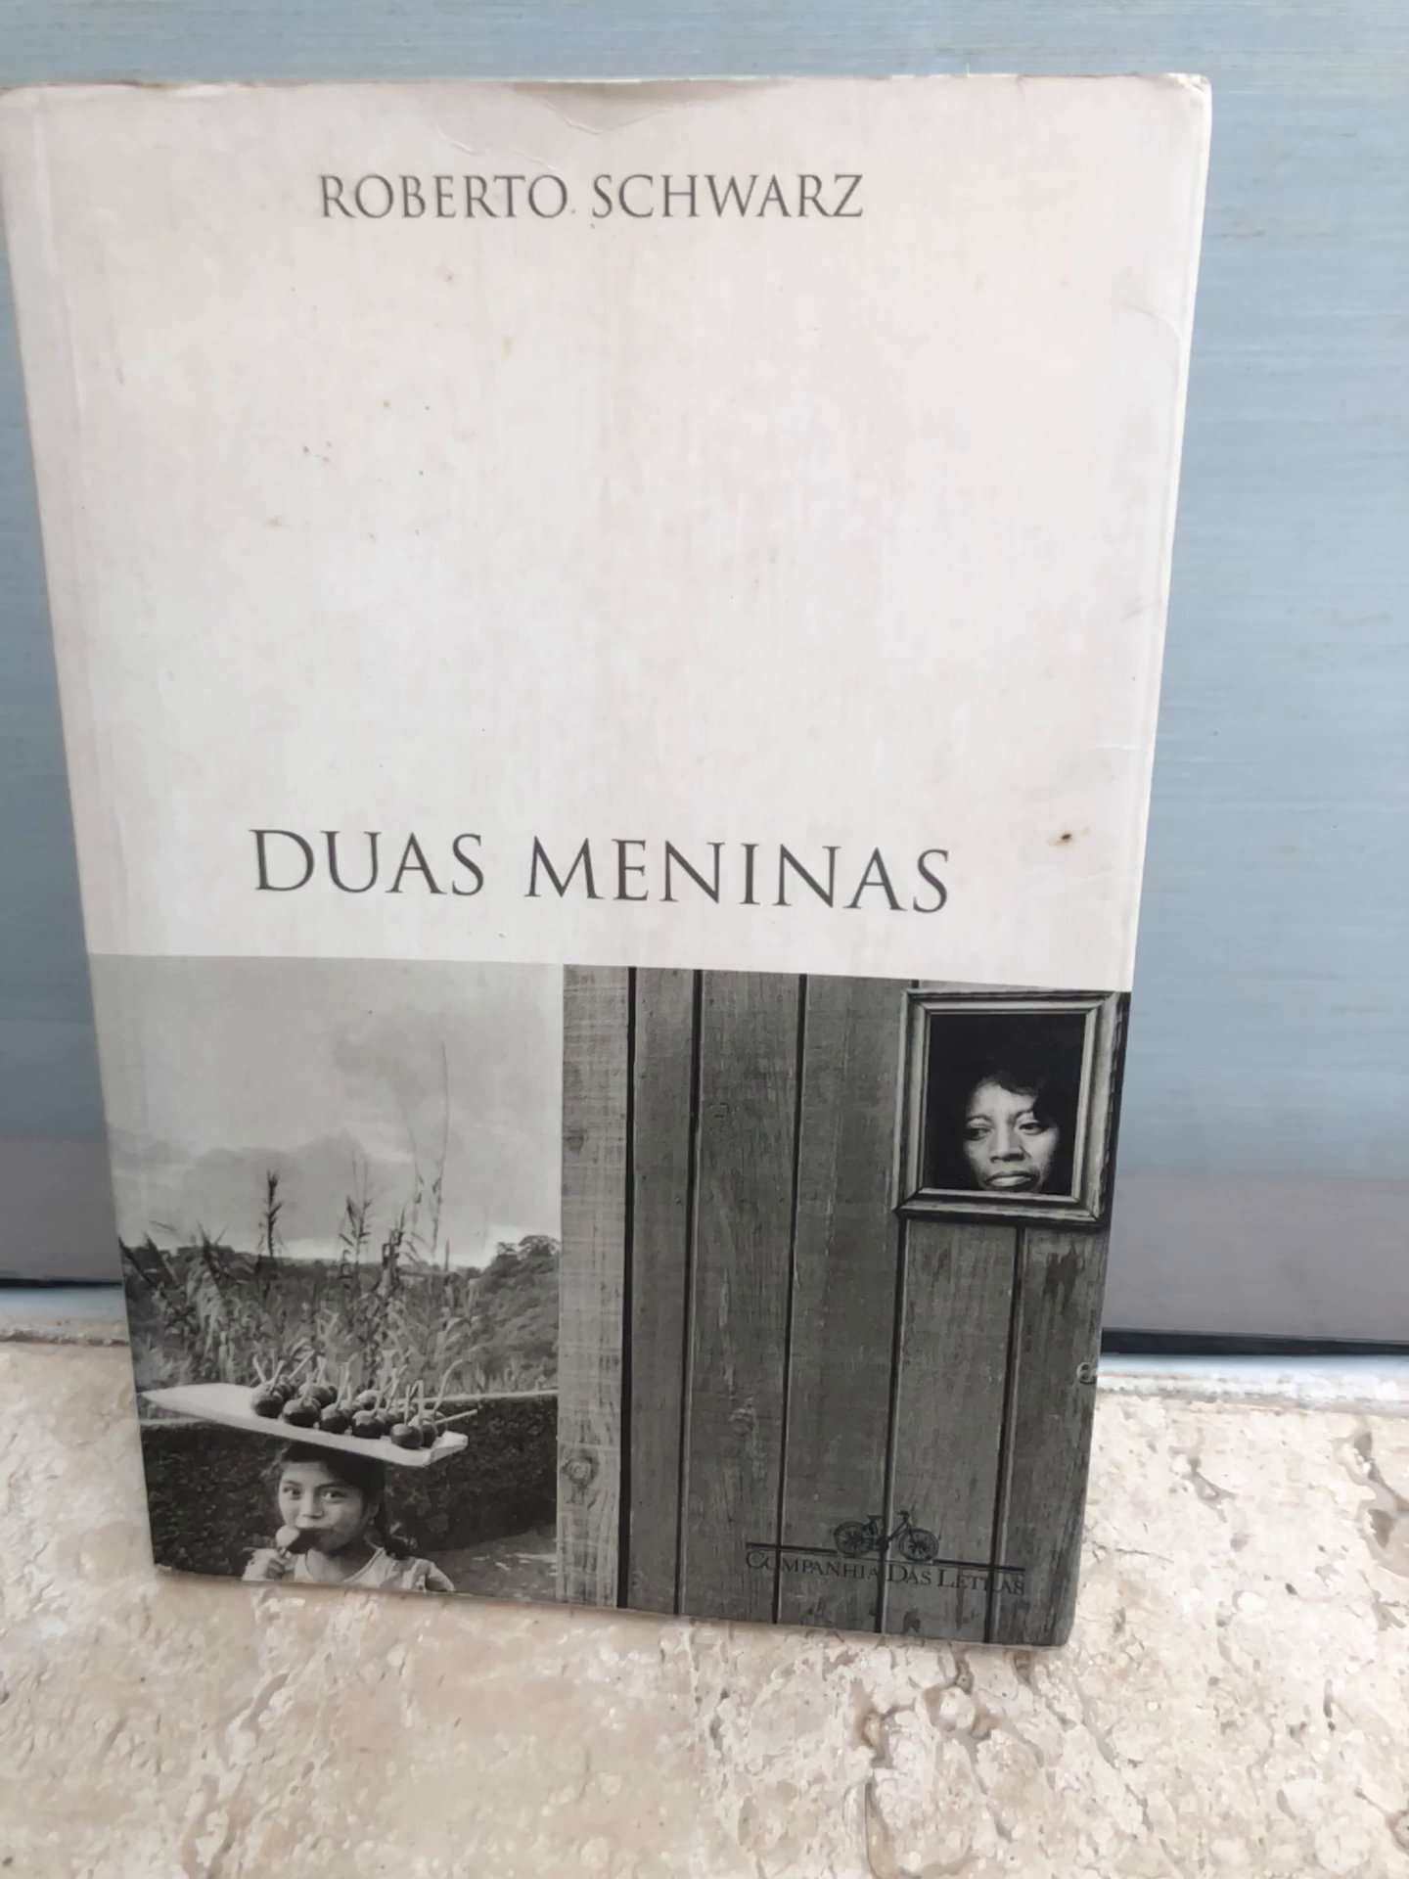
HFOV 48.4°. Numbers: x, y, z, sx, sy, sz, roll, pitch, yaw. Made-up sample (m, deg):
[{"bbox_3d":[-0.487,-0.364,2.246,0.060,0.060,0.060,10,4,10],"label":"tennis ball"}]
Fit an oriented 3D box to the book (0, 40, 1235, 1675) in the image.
[{"bbox_3d":[-0.014,0.001,0.206,0.139,0.205,0.016,2,18,7],"label":"book"}]
